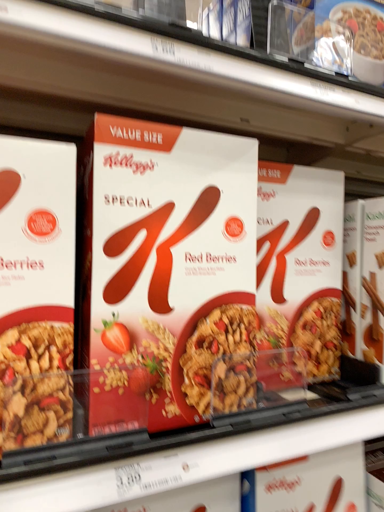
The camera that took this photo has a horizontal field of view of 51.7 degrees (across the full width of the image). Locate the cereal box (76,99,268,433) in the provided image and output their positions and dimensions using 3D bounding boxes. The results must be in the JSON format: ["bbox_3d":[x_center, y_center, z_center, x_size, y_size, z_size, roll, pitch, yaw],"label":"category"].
[{"bbox_3d":[-0.018,0.011,0.450,0.200,0.320,0.060,2,0,-26],"label":"cereal box"}]

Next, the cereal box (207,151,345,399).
[{"bbox_3d":[0.131,0.027,0.601,0.200,0.330,0.060,2,0,-27],"label":"cereal box"}]

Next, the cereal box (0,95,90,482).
[{"bbox_3d":[-0.208,0.026,0.369,0.200,0.290,0.060,2,0,-27],"label":"cereal box"}]
